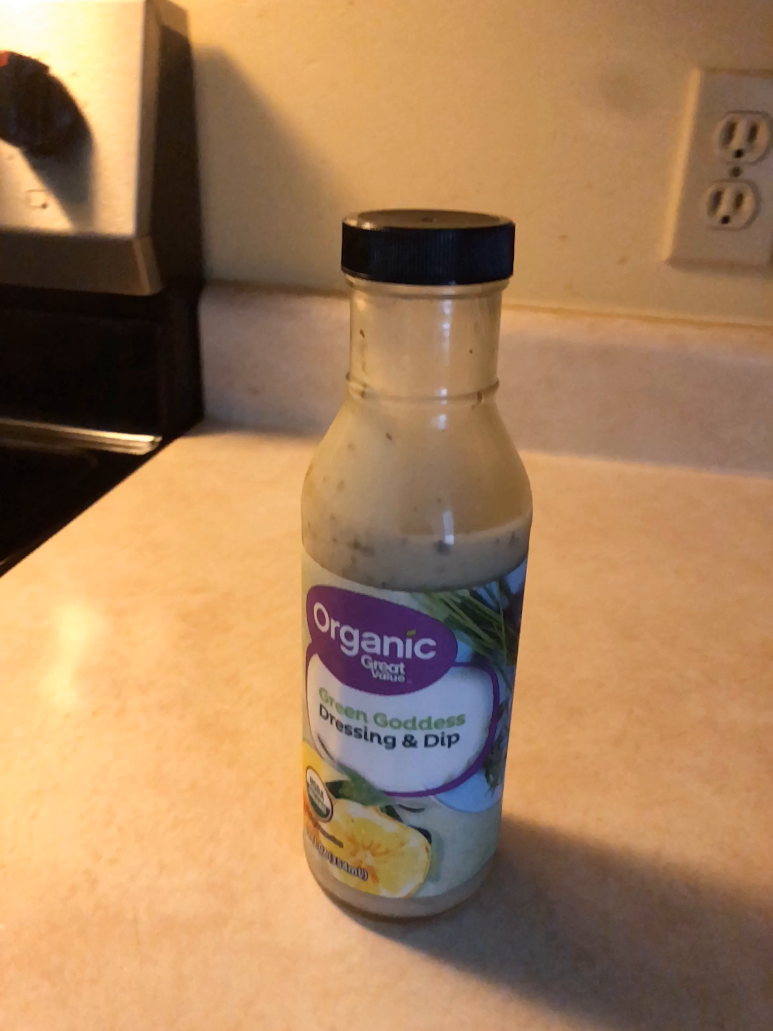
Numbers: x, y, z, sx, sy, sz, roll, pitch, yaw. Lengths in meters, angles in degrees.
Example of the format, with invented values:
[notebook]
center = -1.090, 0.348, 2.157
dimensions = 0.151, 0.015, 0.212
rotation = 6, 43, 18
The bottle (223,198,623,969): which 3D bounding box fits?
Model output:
[bottle]
center = 0.009, 0.017, 0.239
dimensions = 0.070, 0.189, 0.070
rotation = 2, 25, -1
